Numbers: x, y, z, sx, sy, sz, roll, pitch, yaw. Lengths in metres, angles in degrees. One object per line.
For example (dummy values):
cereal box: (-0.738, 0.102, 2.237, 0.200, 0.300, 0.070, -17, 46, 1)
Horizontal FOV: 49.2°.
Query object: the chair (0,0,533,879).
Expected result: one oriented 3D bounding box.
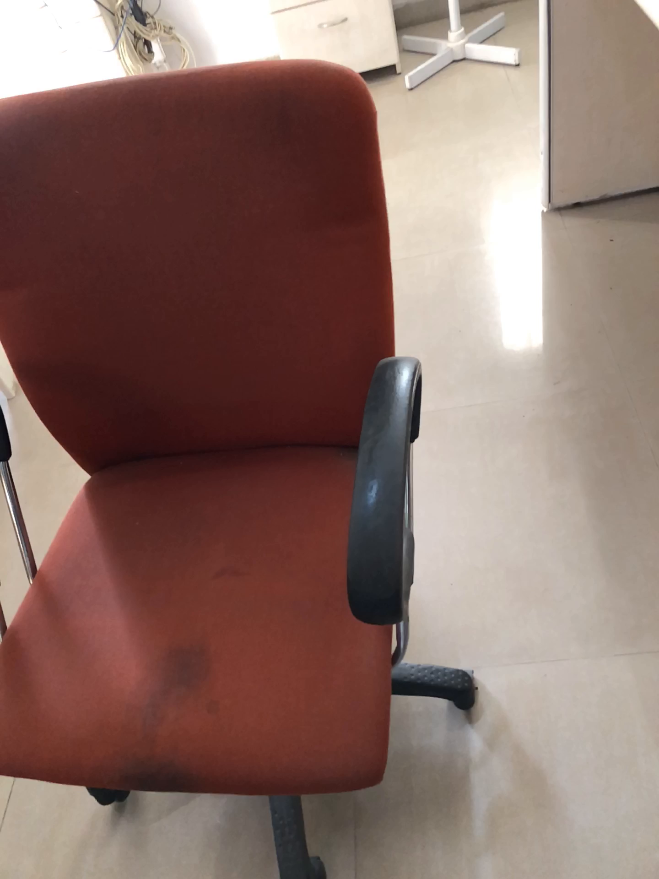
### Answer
chair: (-0.152, 0.150, 0.989, 0.770, 1.044, 0.704, -3, 48, 15)
